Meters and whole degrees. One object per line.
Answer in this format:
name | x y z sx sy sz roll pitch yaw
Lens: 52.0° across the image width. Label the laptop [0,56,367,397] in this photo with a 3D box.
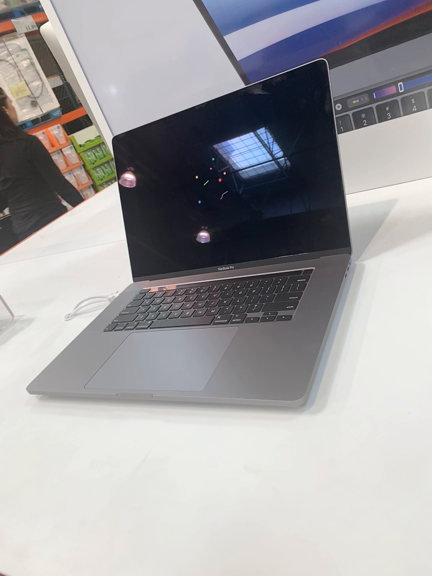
laptop | -0.044 -0.076 0.520 0.341 0.203 0.346 -7 29 31
